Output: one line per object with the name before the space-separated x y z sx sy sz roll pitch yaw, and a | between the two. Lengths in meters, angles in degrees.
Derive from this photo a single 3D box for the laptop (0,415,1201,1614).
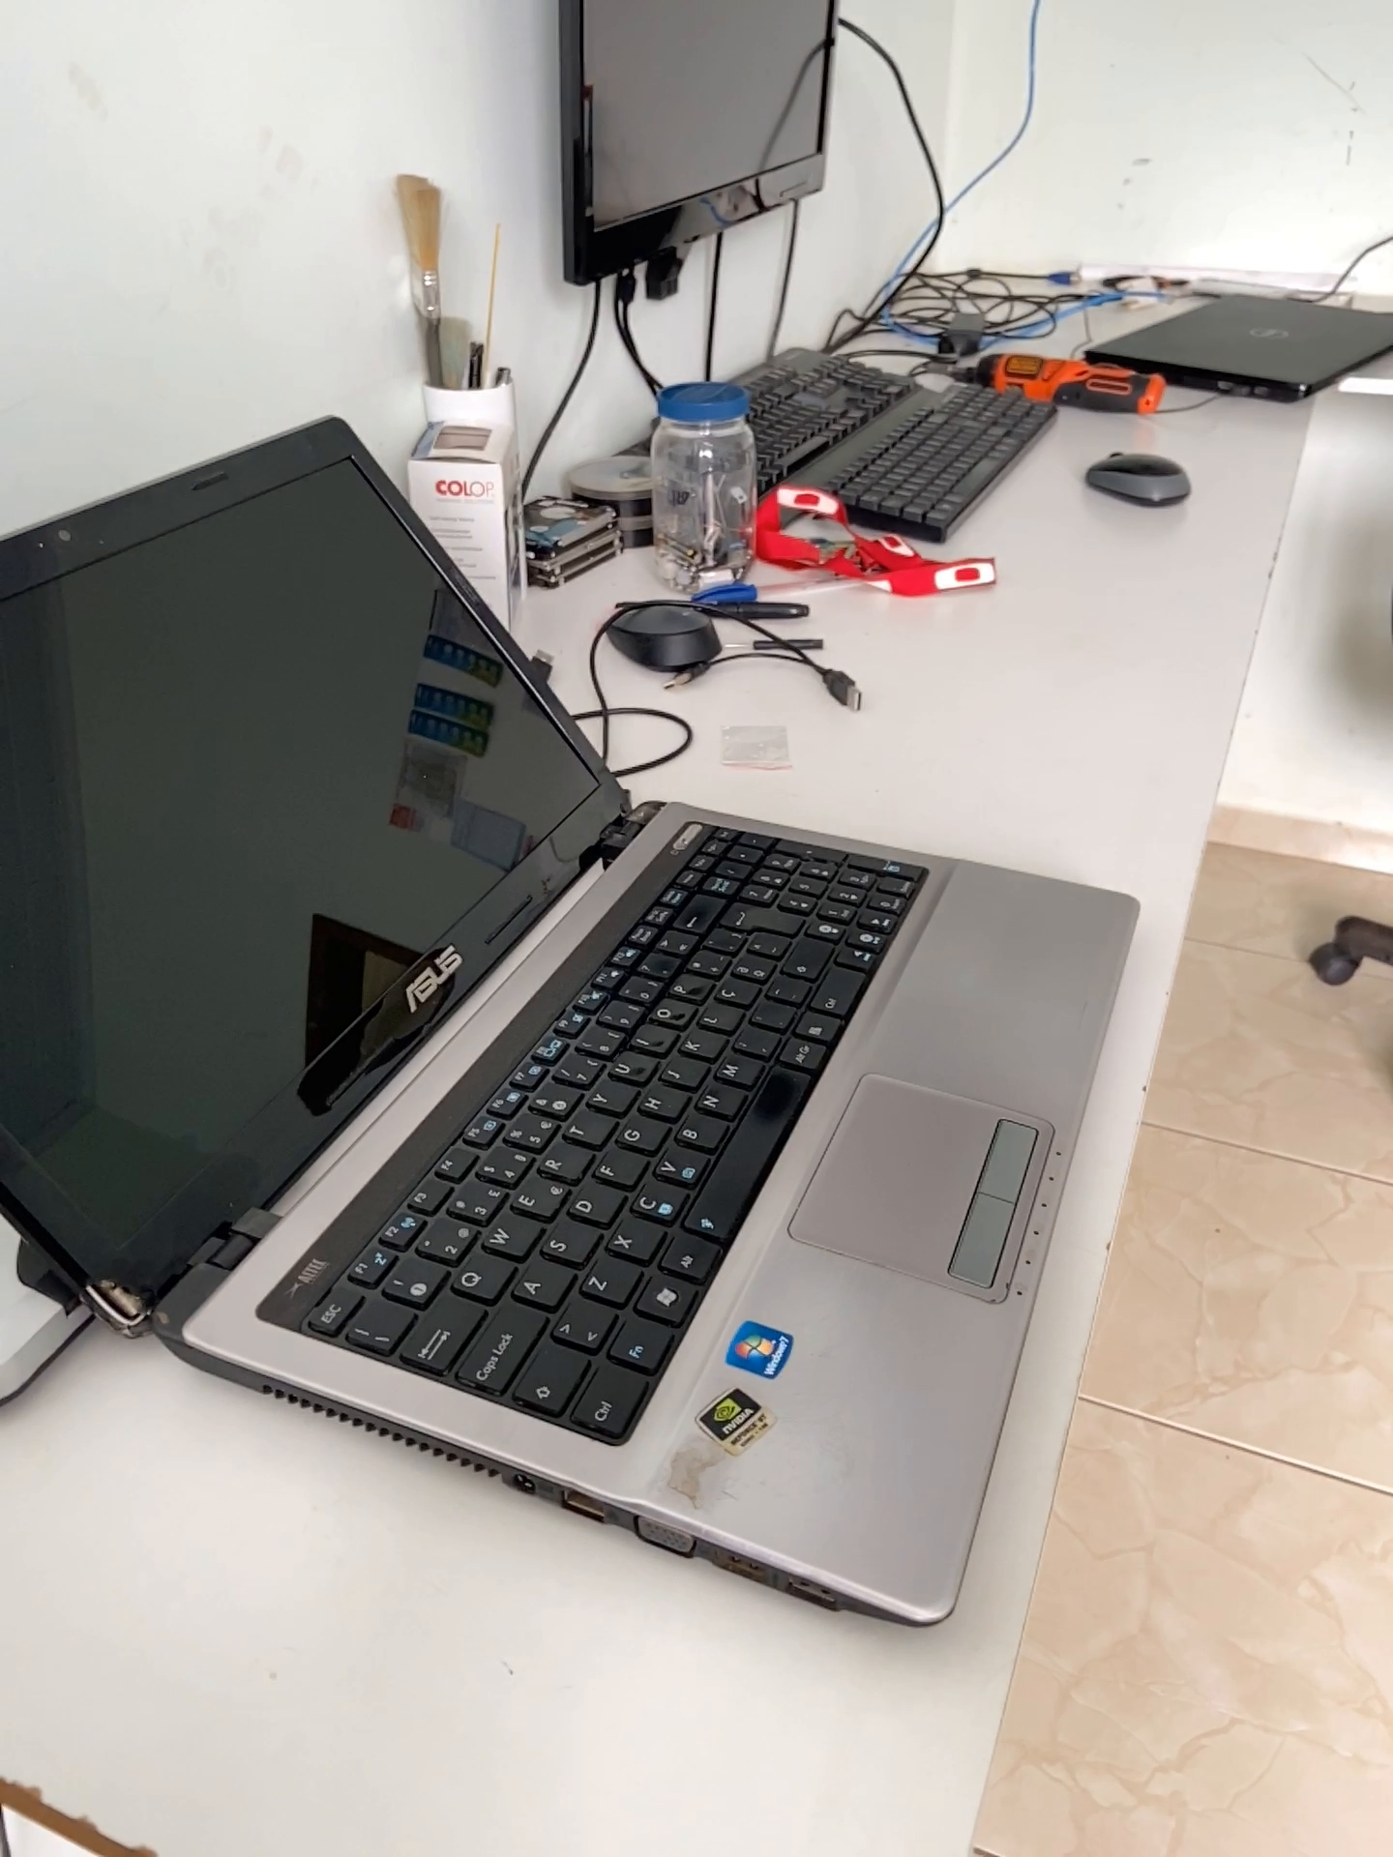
laptop | -0.064 -0.038 0.529 0.415 0.179 0.378 13 34 19
